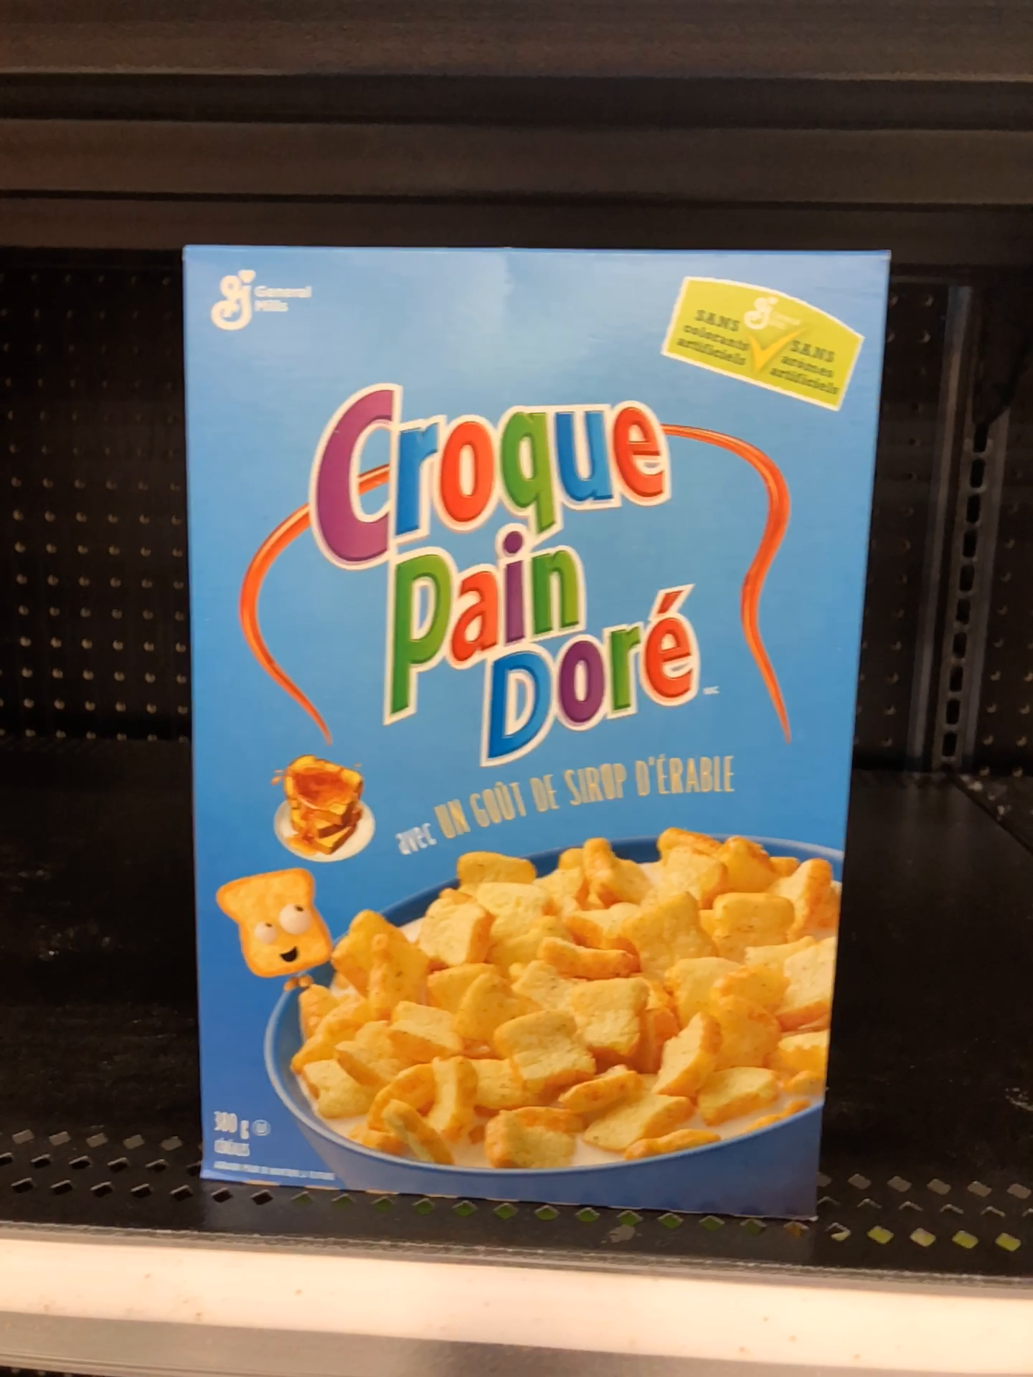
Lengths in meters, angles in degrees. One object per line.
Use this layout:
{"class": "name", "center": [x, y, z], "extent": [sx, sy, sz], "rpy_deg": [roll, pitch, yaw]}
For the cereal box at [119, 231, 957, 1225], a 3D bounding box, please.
{"class": "cereal box", "center": [0.002, 0.012, 0.341], "extent": [0.210, 0.269, 0.060], "rpy_deg": [2, 11, 4]}
